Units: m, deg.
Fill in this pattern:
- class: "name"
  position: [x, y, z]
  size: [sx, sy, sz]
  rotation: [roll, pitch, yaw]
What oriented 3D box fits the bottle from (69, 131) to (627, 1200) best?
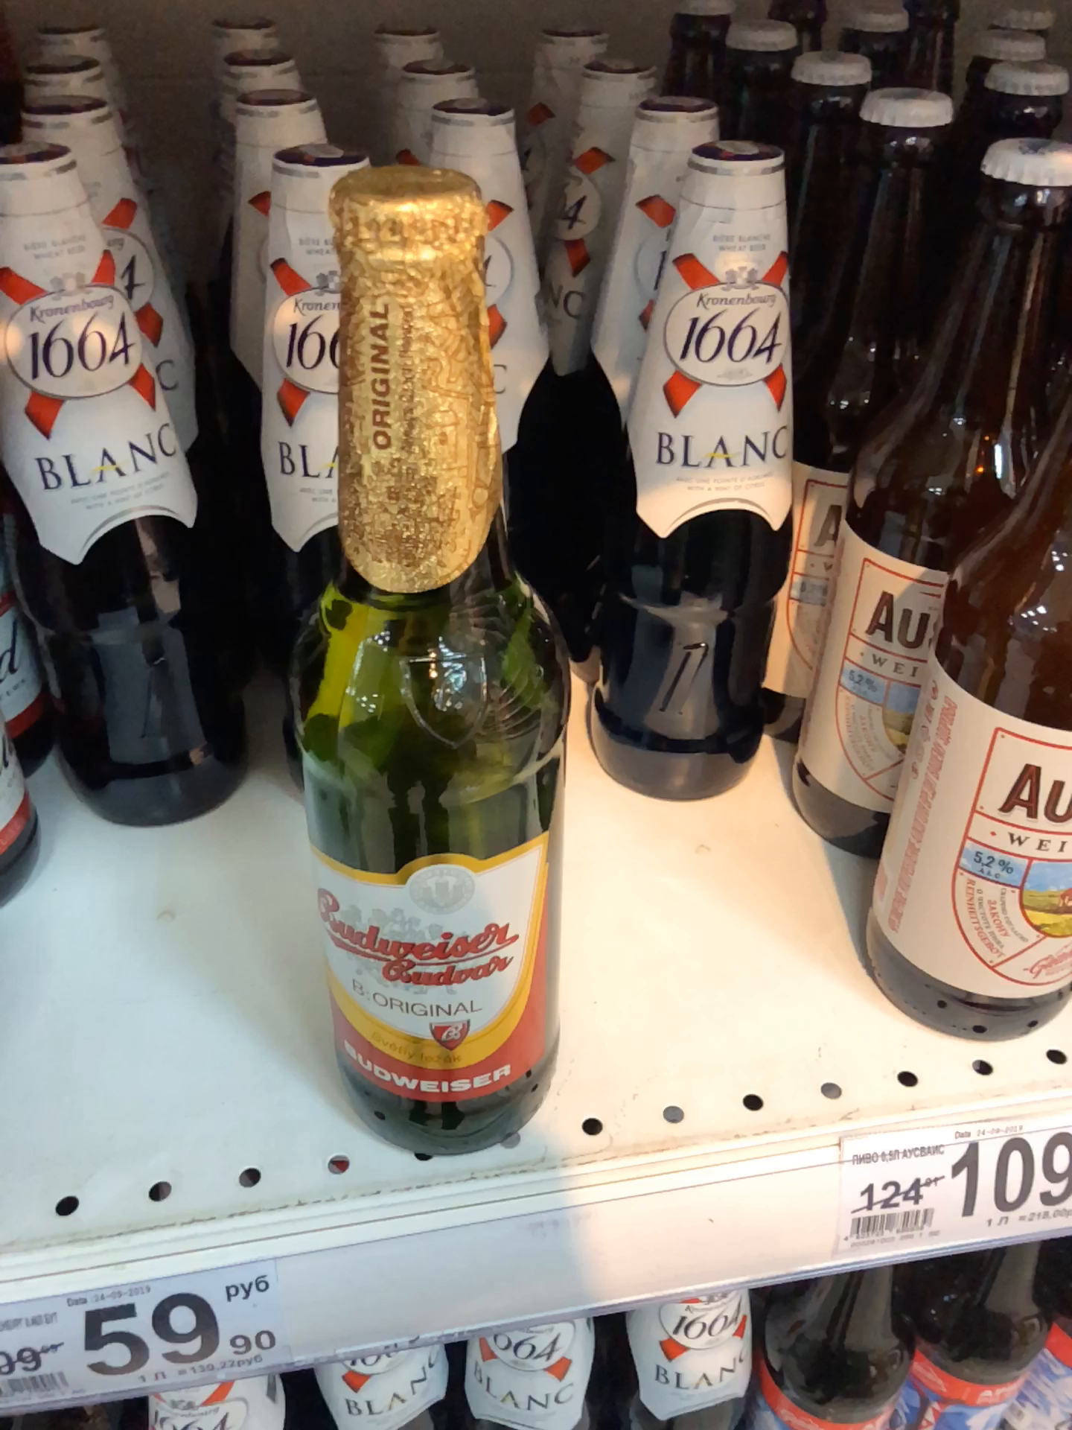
- class: "bottle"
  position: [-0.027, 0.010, 0.280]
  size: [0.080, 0.254, 0.070]
  rotation: [4, 39, 5]
